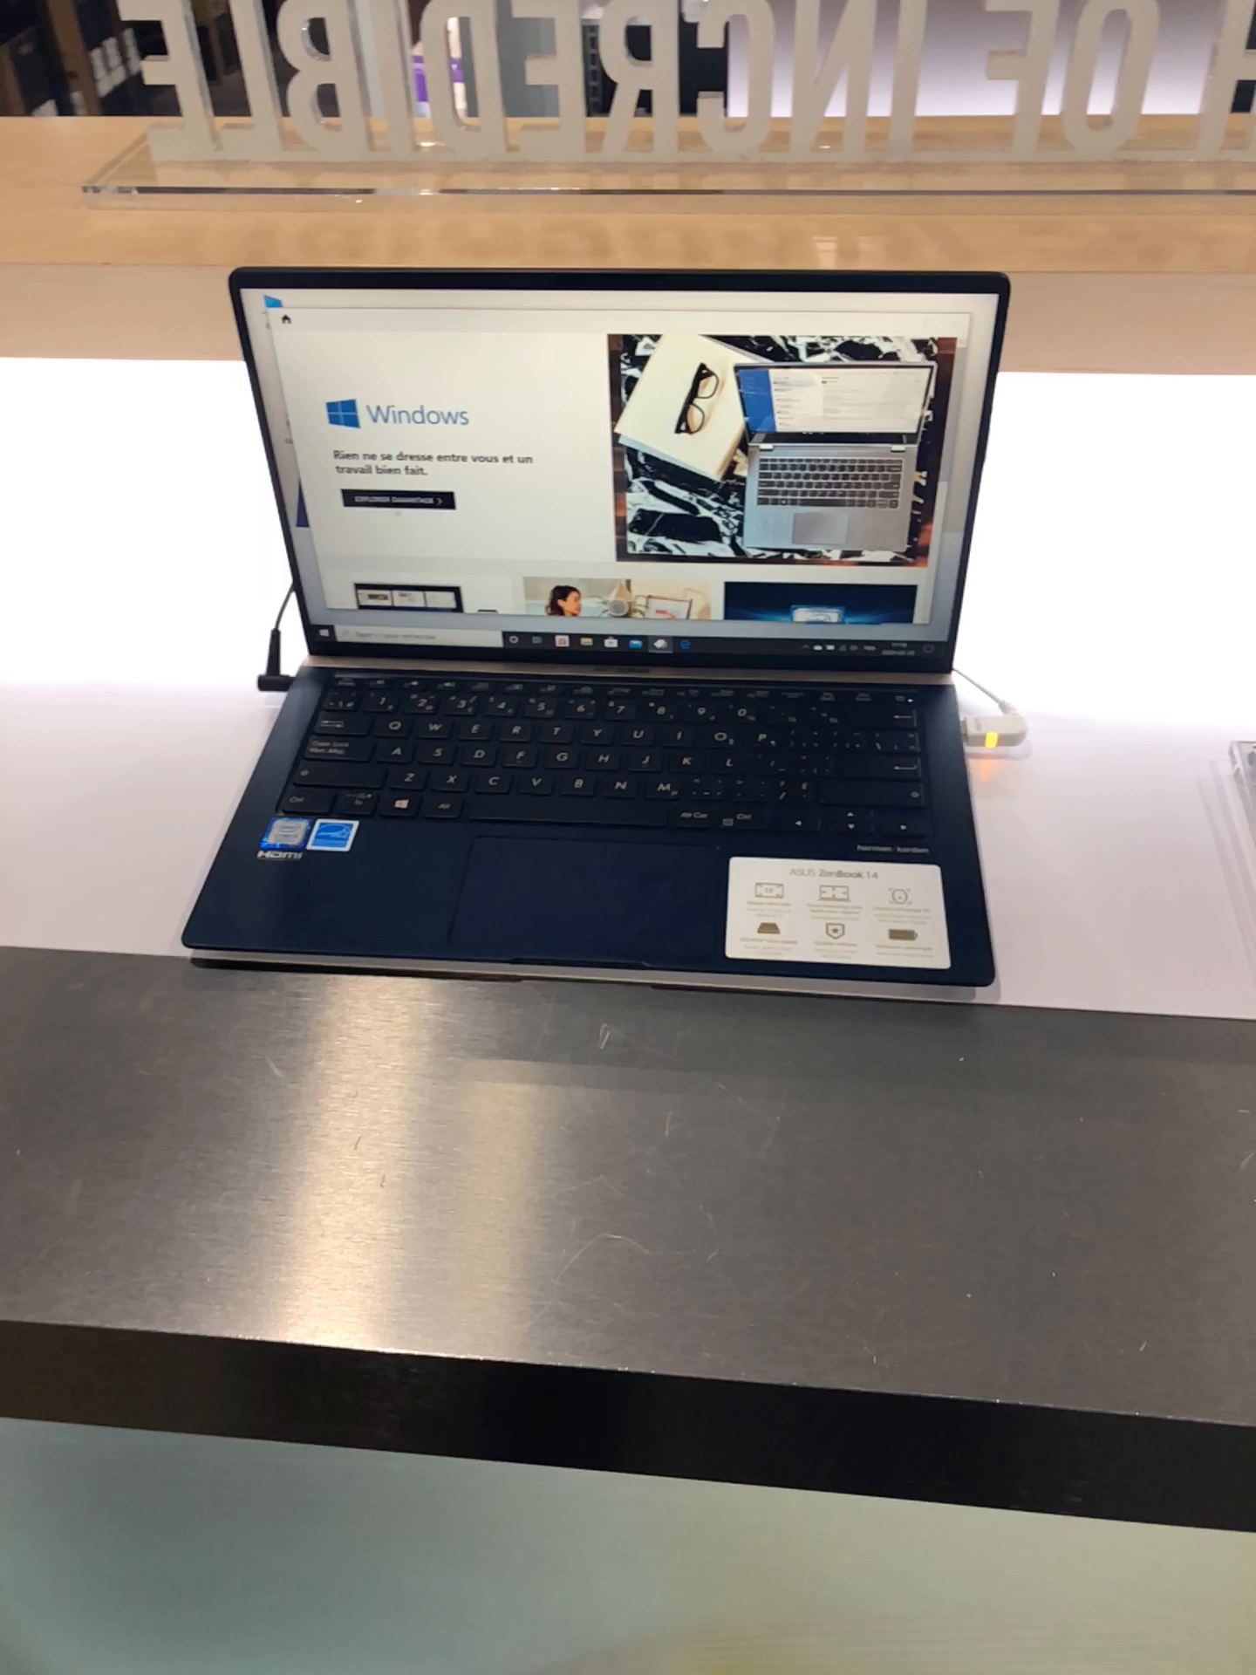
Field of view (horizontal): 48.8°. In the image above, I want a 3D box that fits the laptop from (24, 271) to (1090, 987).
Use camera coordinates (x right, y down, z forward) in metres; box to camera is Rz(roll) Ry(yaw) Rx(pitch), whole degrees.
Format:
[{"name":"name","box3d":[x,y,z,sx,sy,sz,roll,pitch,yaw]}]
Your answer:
[{"name":"laptop","box3d":[-0.013,-0.083,0.520,0.301,0.181,0.192,2,42,4]}]
